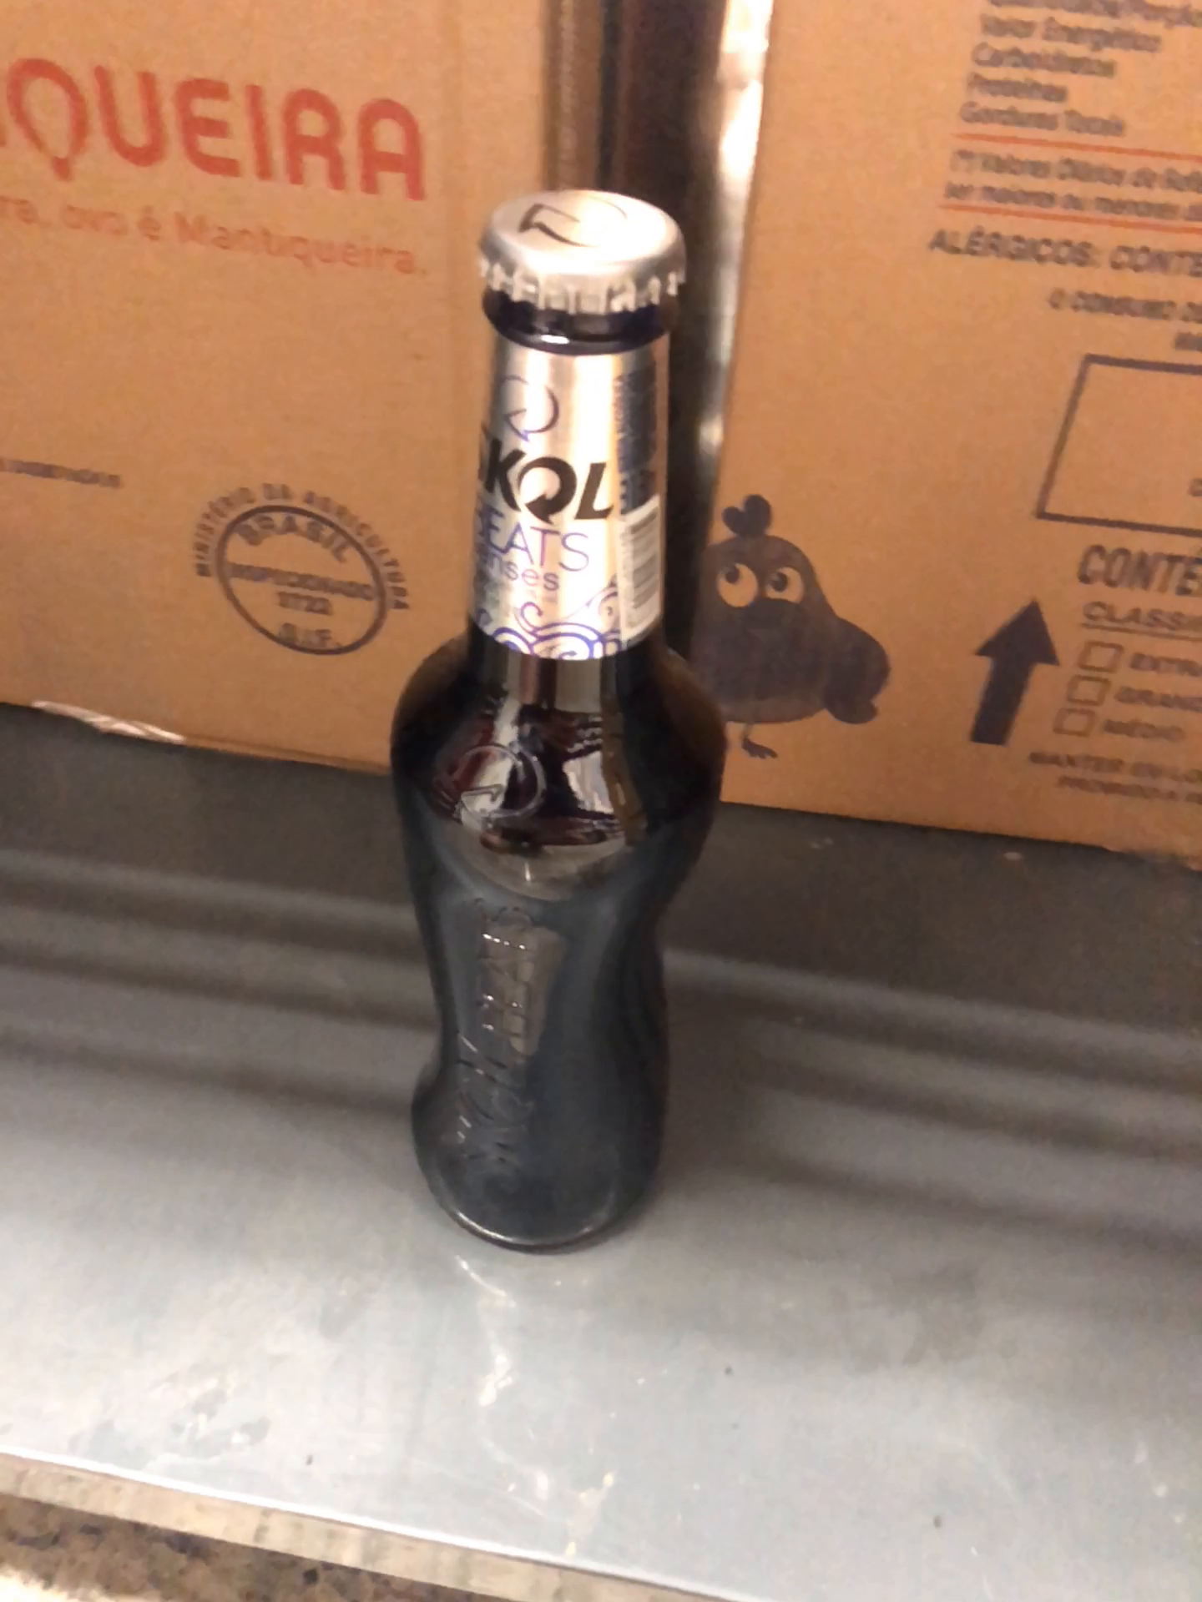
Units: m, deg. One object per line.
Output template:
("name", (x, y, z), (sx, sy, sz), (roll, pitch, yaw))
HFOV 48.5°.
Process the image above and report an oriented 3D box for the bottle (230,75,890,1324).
("bottle", (-0.004, 0.005, 0.256), (0.070, 0.238, 0.071), (1, 44, -1))
